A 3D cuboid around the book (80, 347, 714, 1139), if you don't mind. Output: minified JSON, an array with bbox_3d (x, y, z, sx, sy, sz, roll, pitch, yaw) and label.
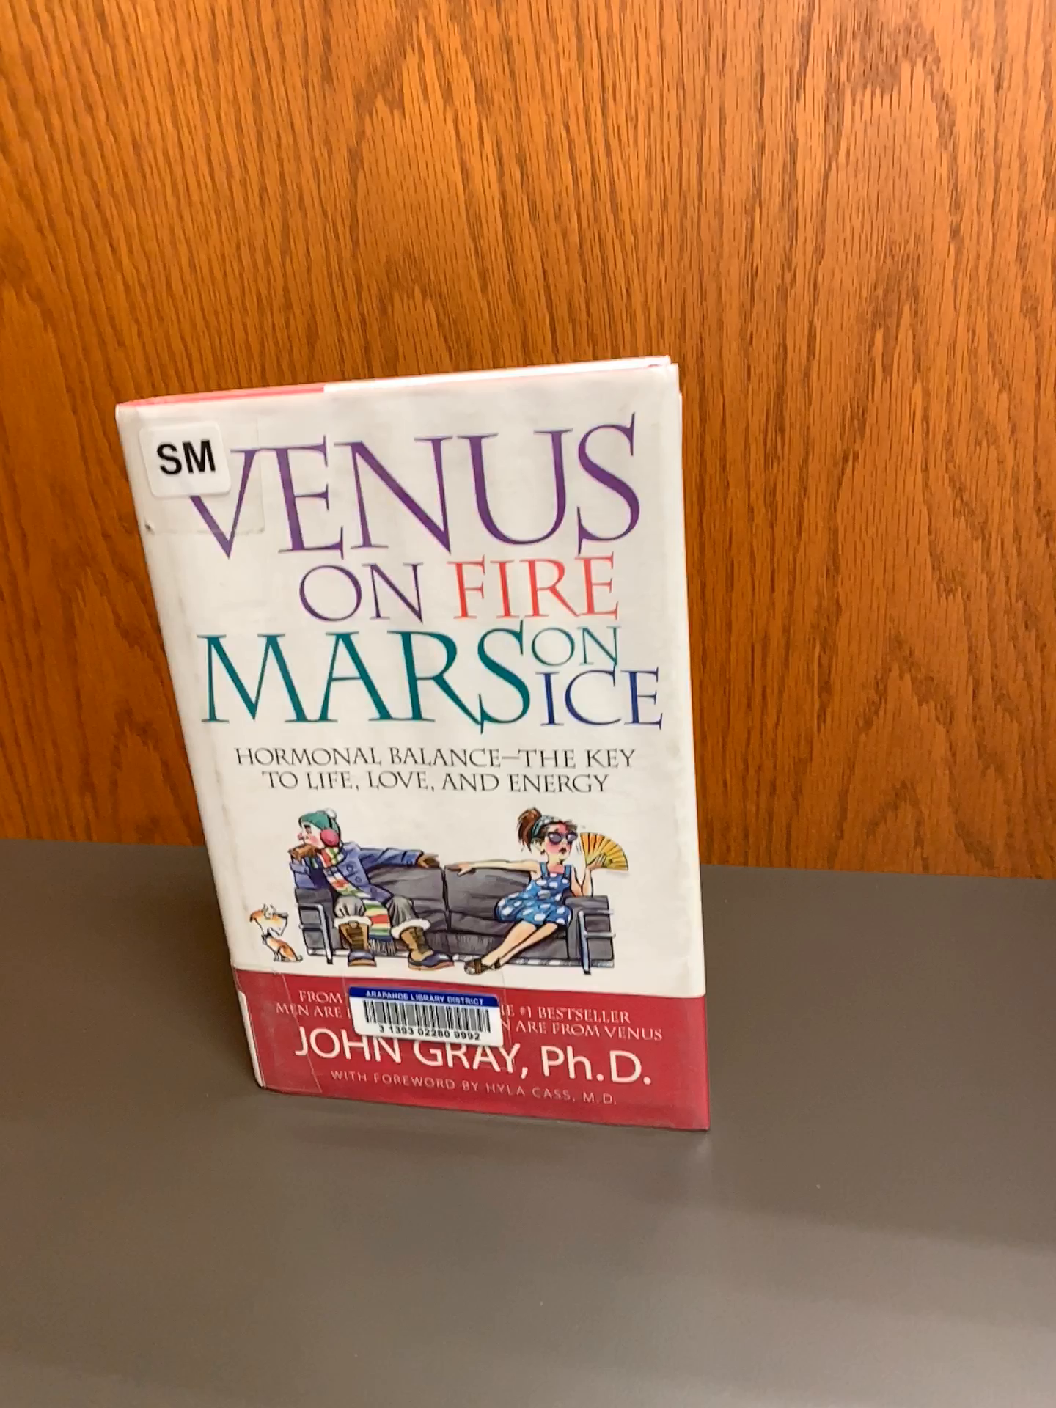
[{"bbox_3d":[-0.029,0.019,0.317,0.153,0.220,0.033,0,20,14],"label":"book"}]
